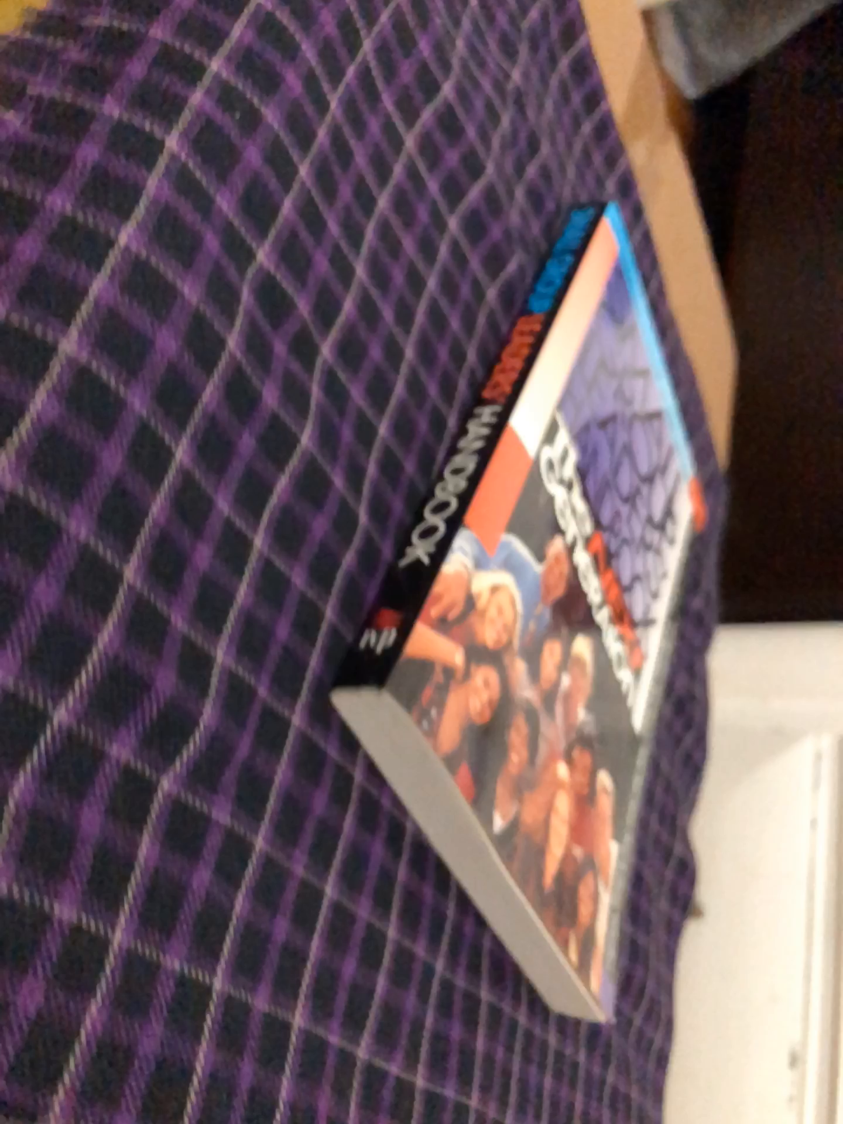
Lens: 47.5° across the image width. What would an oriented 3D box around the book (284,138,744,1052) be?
[{"bbox_3d":[0.053,-0.003,0.282,0.150,0.030,0.221,62,38,-35],"label":"book"}]
